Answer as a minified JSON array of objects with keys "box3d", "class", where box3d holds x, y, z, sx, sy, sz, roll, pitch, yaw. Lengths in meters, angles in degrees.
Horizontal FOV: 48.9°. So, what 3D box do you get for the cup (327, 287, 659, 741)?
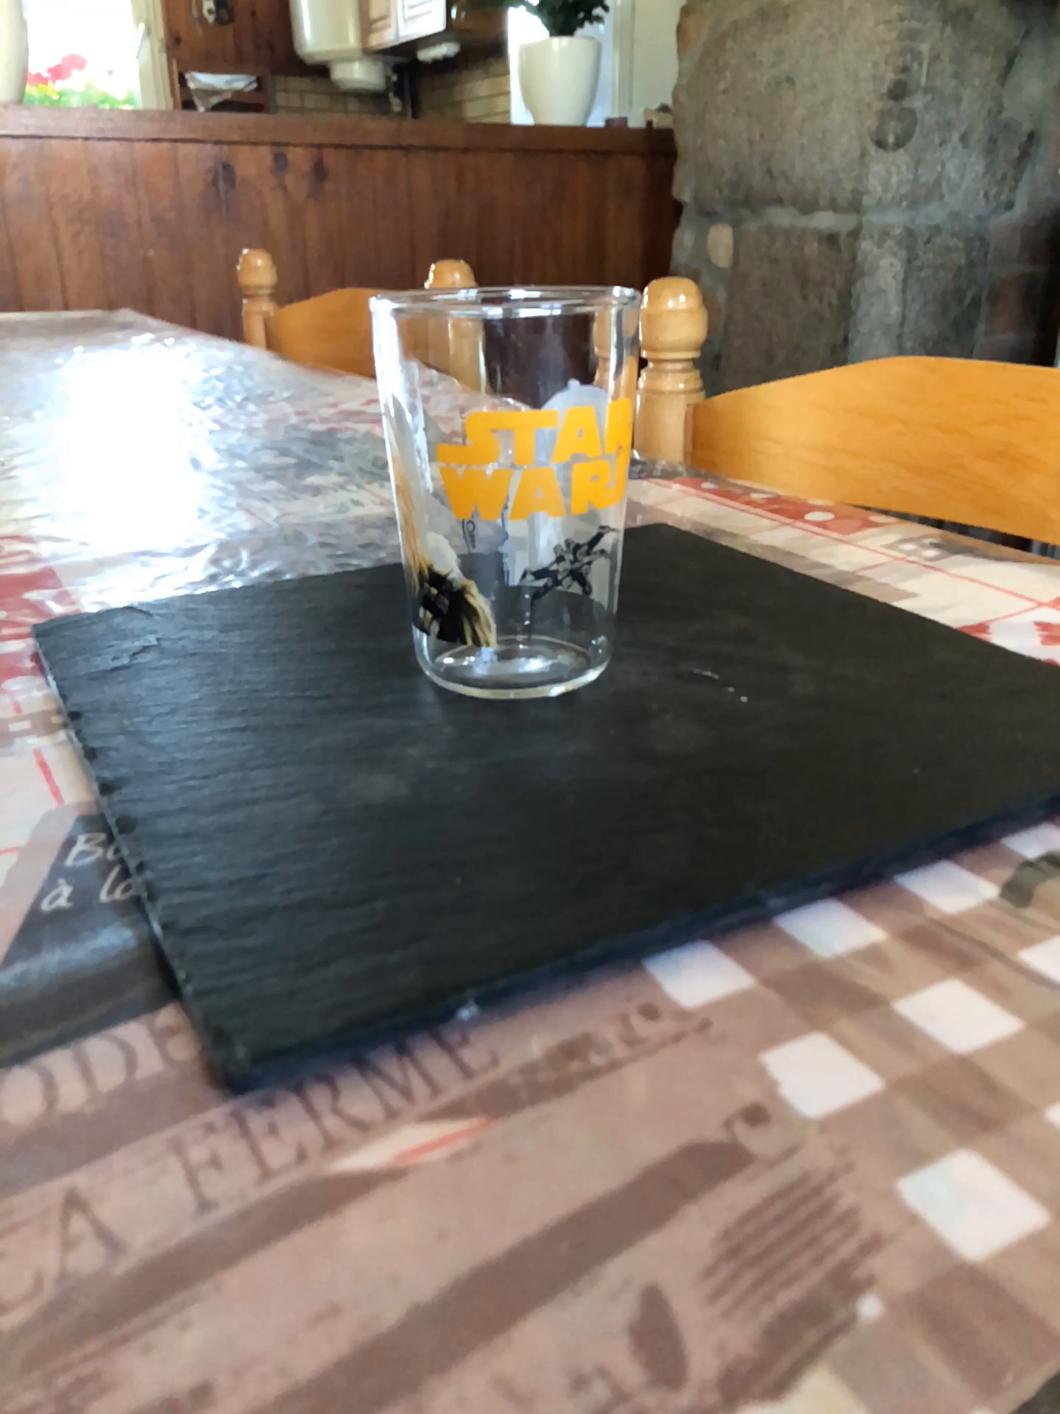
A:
[{"box3d":[-0.006,-0.052,0.296,0.070,0.099,0.070,0,22,0],"class":"cup"}]
